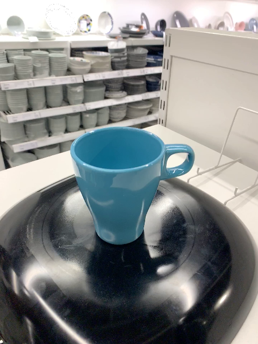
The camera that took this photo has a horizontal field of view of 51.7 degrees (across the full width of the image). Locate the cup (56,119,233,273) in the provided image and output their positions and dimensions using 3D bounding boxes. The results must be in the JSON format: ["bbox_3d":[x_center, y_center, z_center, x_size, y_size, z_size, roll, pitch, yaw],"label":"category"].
[{"bbox_3d":[0.006,0.015,0.277,0.140,0.100,0.100,-8,33,-17],"label":"cup"}]
